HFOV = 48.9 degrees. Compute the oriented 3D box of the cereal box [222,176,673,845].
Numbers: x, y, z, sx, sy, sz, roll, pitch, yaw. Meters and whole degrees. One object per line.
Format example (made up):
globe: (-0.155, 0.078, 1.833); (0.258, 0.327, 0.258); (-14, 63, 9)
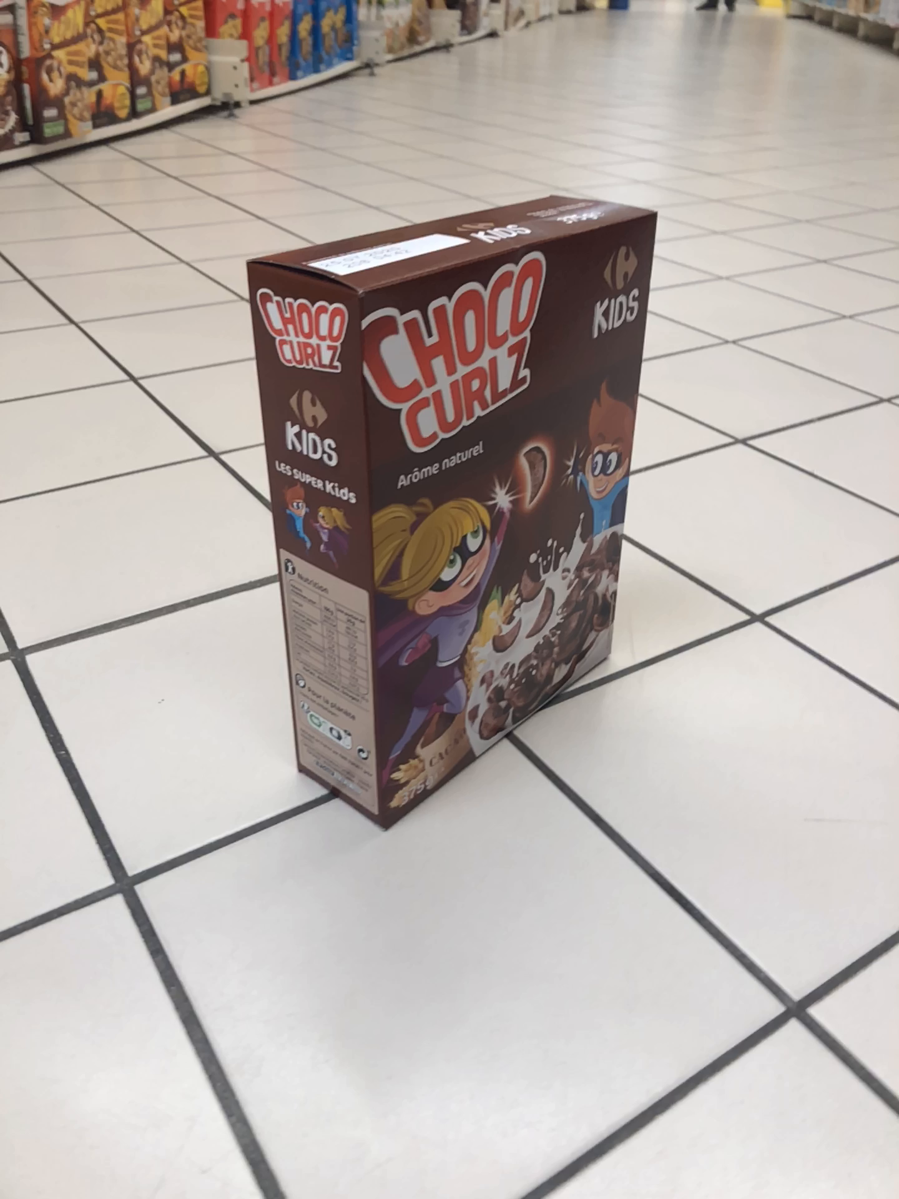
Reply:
cereal box: (0.006, -0.048, 0.473); (0.070, 0.258, 0.201); (26, 39, 33)
